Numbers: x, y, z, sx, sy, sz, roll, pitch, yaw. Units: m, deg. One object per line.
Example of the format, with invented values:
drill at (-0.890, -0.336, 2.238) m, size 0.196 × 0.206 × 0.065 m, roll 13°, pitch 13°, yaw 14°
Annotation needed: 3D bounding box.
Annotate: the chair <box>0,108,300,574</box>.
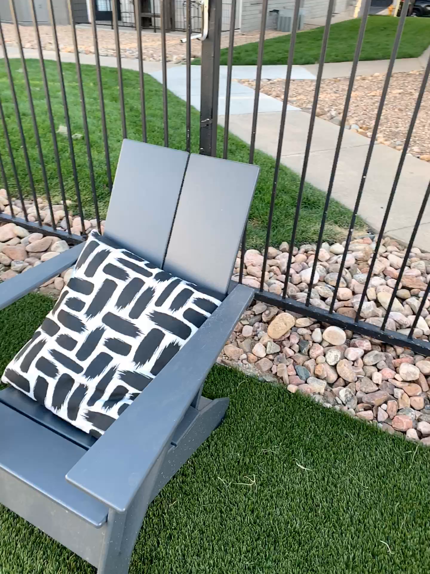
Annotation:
chair at (-0.292, 0.109, 1.092) m, size 0.621 × 0.806 × 0.883 m, roll 19°, pitch 38°, yaw 23°
